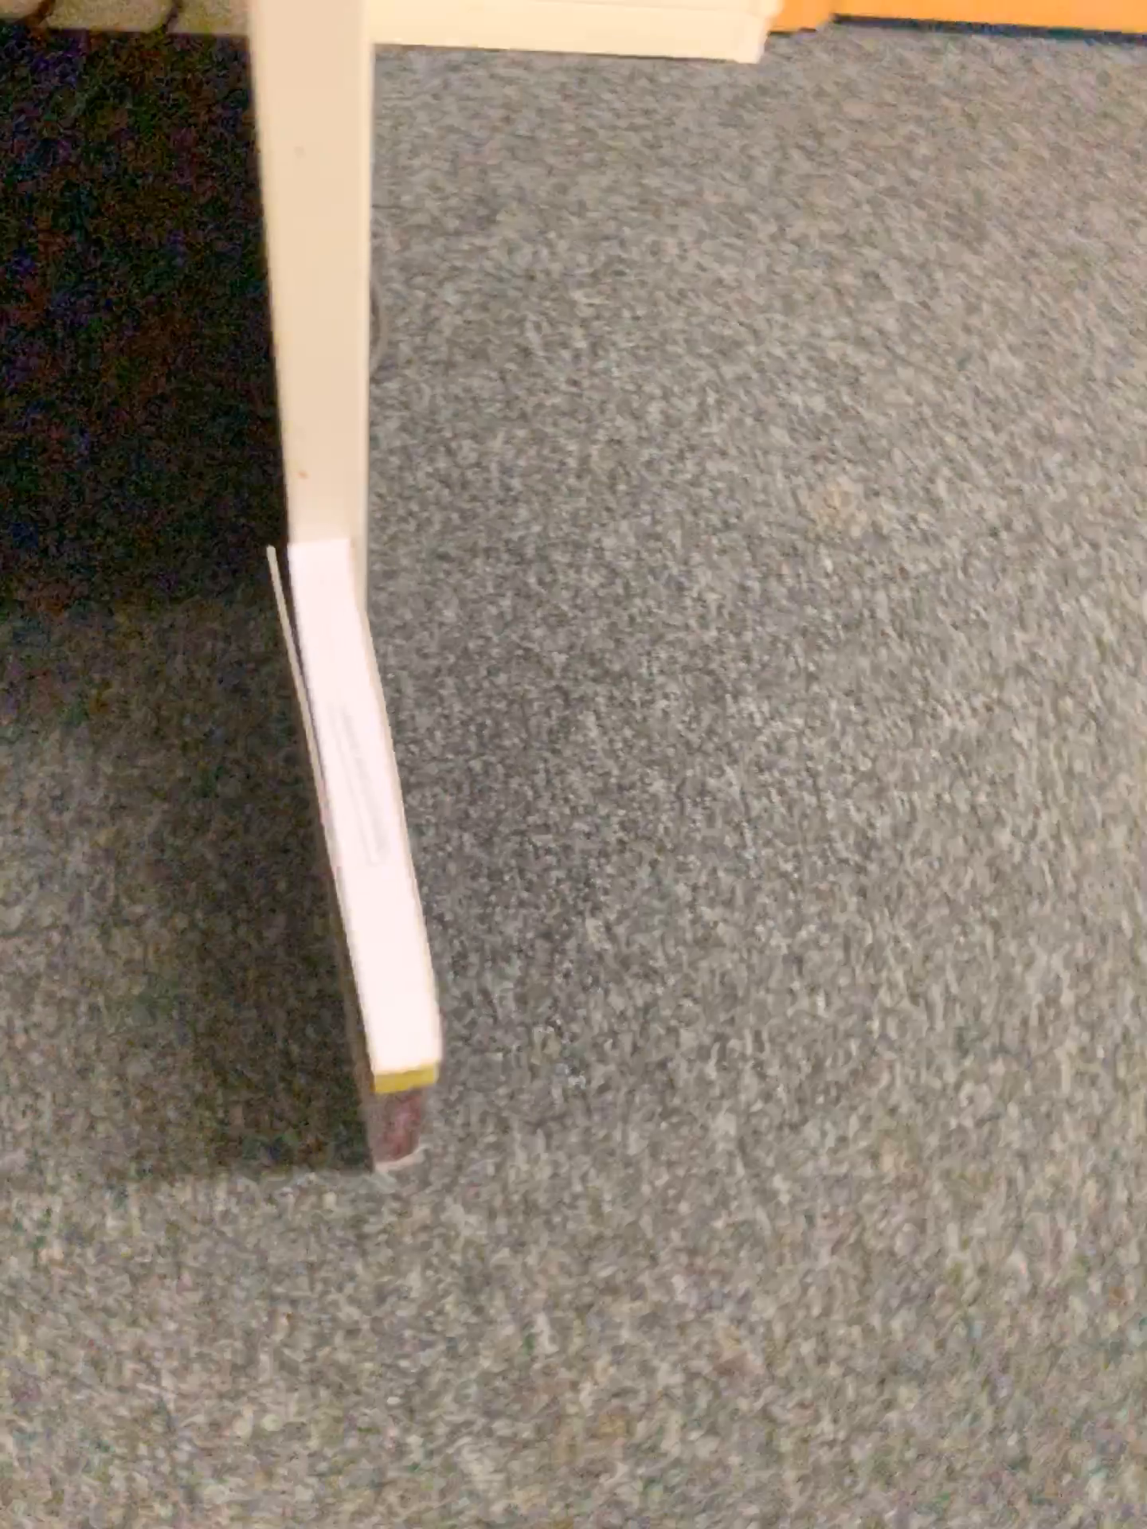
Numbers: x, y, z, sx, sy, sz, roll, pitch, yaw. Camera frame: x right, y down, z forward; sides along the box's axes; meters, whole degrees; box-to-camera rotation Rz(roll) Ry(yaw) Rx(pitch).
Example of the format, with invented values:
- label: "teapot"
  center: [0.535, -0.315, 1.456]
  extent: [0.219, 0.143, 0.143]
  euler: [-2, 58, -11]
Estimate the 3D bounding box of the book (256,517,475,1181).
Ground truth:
- label: "book"
  center: [-0.086, 0.052, 0.475]
  extent: [0.036, 0.229, 0.201]
  euler: [-10, 67, -13]
